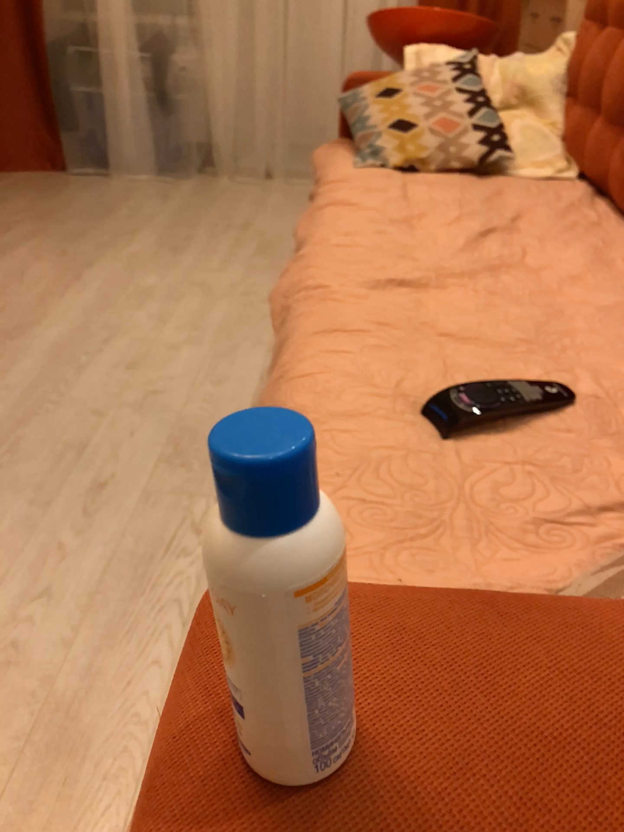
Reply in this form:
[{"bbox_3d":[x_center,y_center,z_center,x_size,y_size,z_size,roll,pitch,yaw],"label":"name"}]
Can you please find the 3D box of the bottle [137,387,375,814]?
[{"bbox_3d":[-0.013,0.056,0.200,0.044,0.111,0.047,-4,34,3],"label":"bottle"}]
